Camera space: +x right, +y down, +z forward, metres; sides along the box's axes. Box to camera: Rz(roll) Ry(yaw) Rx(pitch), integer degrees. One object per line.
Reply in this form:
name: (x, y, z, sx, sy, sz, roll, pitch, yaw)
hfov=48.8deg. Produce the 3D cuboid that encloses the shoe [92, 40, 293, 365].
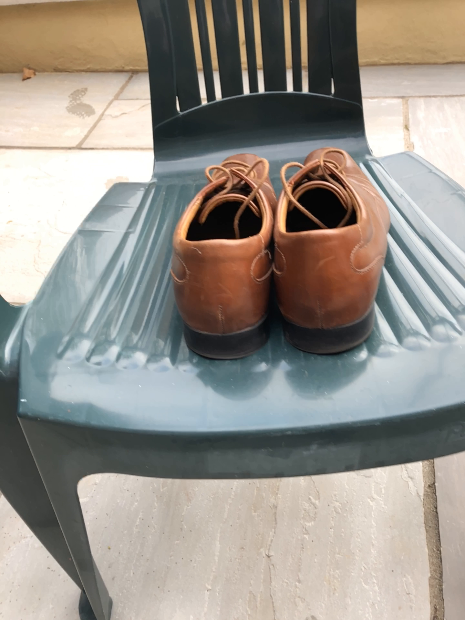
shoe: (-0.007, -0.105, 0.420, 0.110, 0.109, 0.292, -1, 46, 7)

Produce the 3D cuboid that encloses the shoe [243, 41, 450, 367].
shoe: (0.083, -0.103, 0.413, 0.110, 0.109, 0.282, 1, 47, 9)
